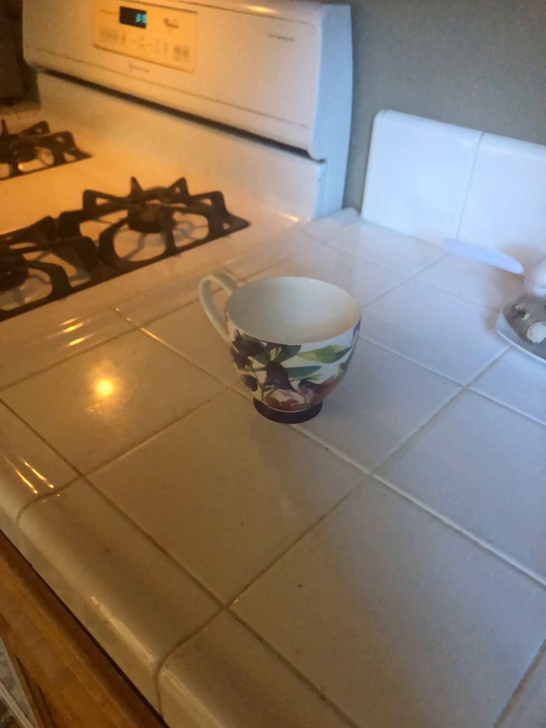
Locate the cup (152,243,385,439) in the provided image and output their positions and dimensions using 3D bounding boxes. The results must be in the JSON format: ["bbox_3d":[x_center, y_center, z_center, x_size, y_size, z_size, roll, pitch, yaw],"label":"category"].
[{"bbox_3d":[-0.002,-0.027,0.502,0.150,0.079,0.111,19,39,21],"label":"cup"}]
